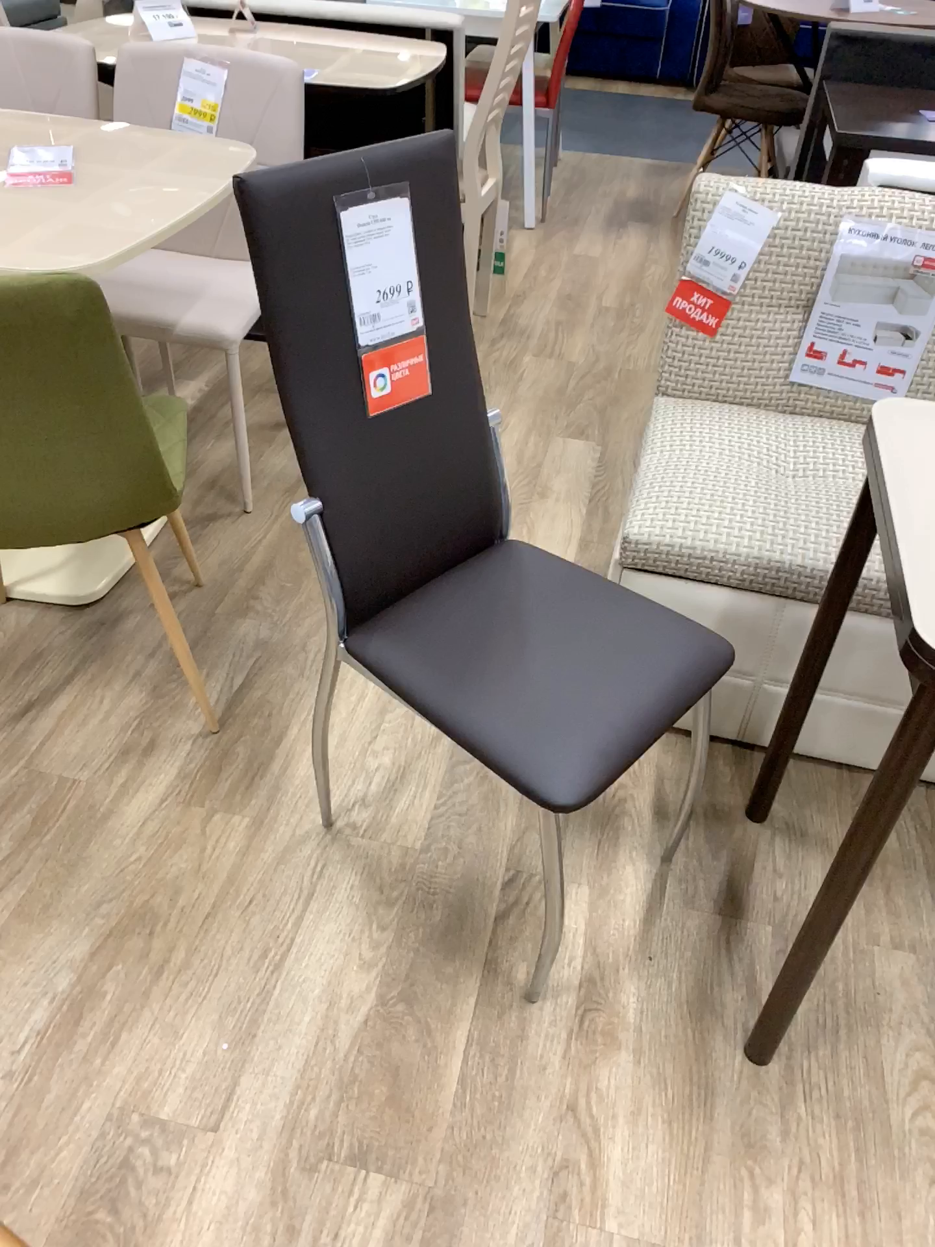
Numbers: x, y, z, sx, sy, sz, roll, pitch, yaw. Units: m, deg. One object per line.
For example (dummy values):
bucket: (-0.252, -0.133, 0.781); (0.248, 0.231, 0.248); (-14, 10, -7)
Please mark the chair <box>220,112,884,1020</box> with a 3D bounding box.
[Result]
chair: (0.058, -0.043, 1.257); (0.501, 0.994, 0.422); (33, 48, 31)
